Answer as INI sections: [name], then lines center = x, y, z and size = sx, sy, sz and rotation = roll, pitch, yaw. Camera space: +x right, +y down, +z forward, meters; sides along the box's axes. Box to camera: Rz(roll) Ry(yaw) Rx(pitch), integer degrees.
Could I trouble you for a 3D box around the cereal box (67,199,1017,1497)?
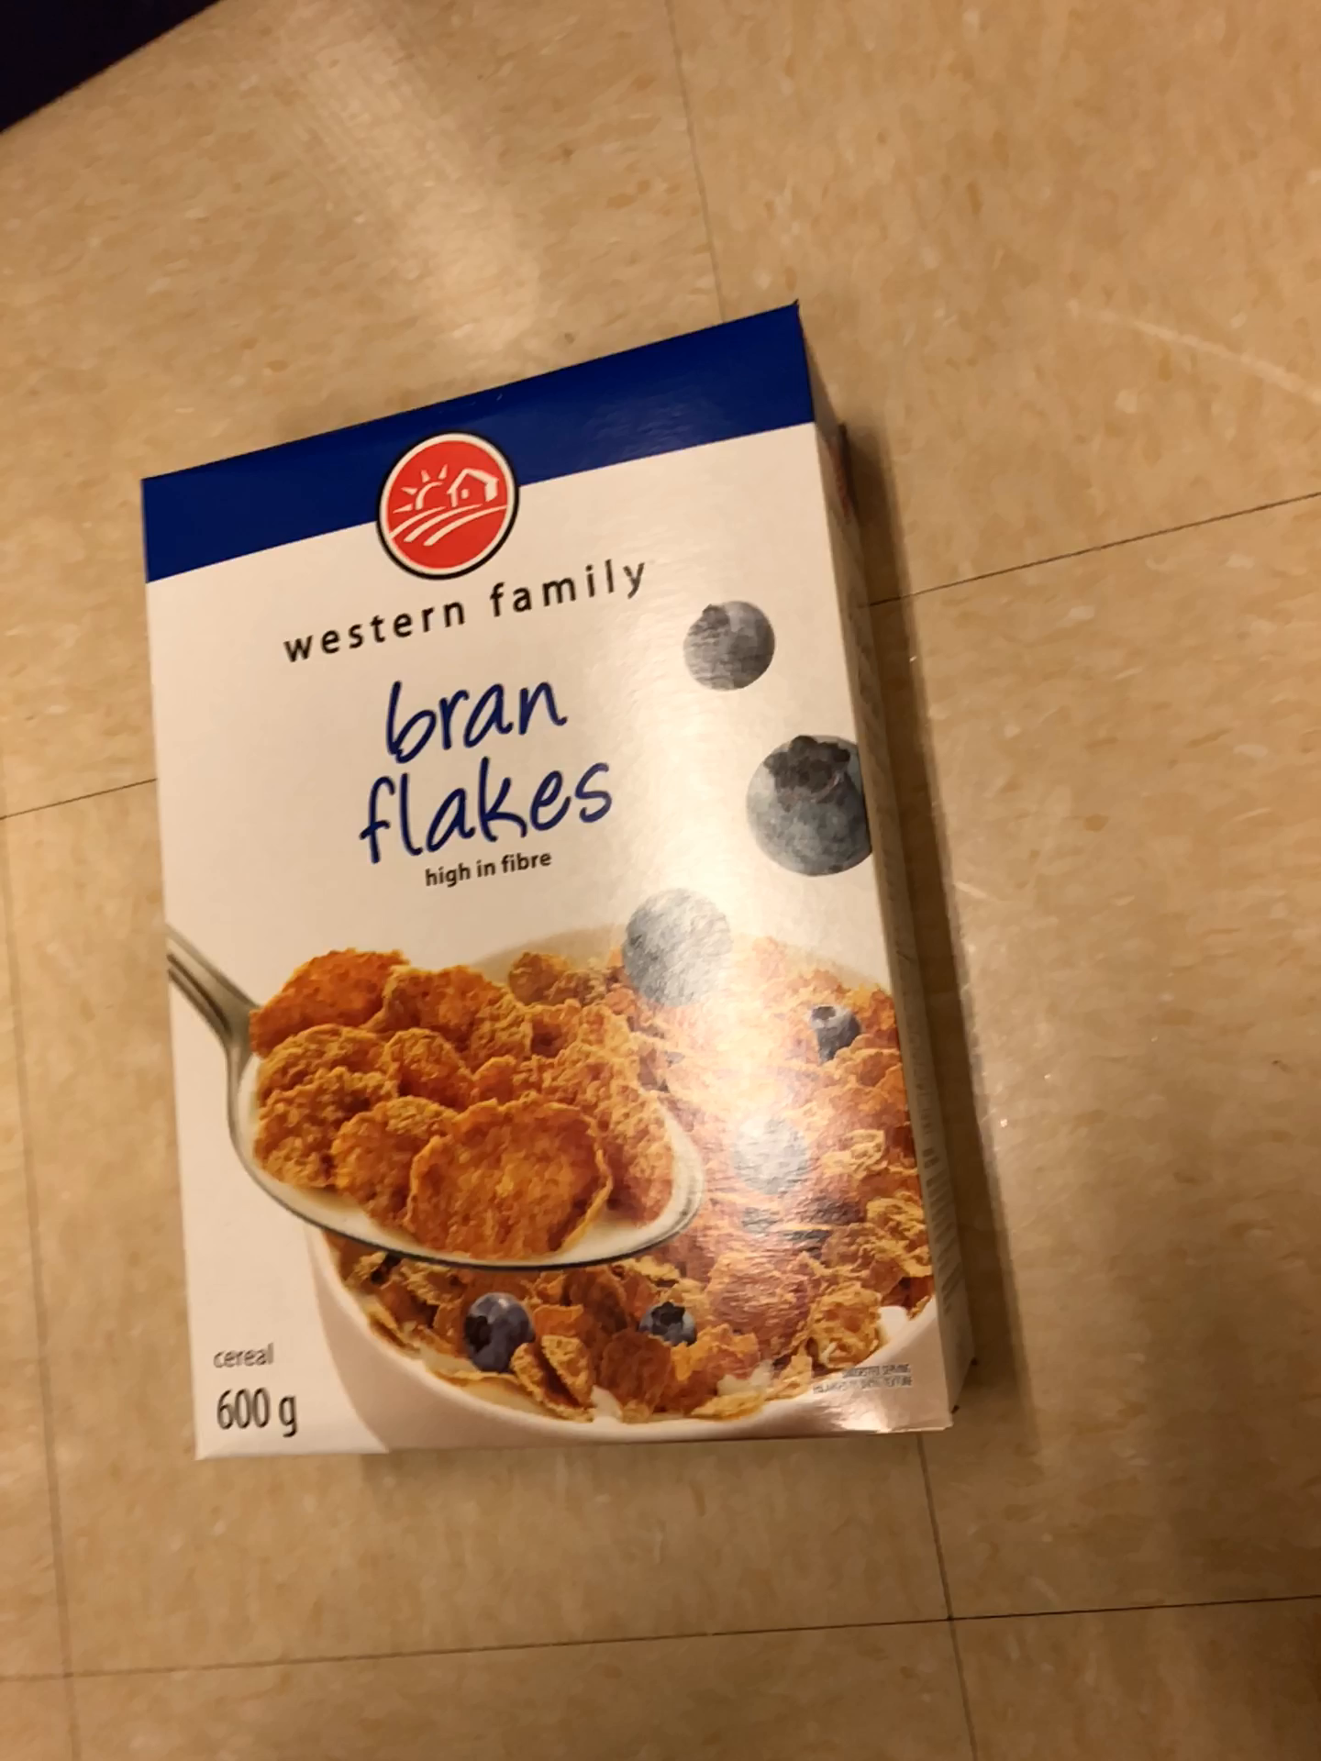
[cereal box]
center = -0.037, 0.000, 0.412
size = 0.220, 0.090, 0.300
rotation = -9, 81, 16
